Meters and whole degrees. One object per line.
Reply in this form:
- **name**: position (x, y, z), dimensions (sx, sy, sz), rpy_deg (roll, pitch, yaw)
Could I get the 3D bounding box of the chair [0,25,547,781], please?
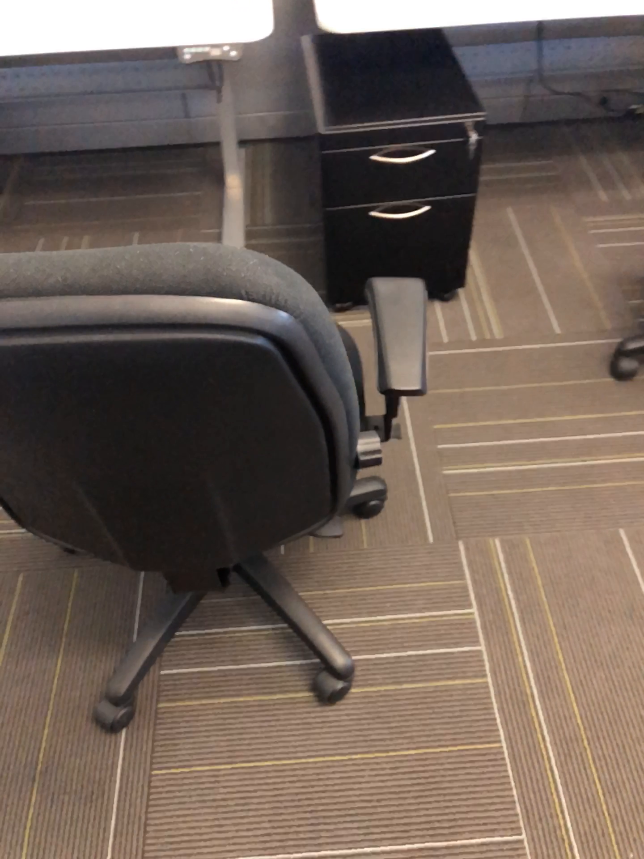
- **chair**: position (-0.197, 0.027, 1.140), dimensions (0.740, 0.956, 0.683), rpy_deg (-4, 49, -1)
